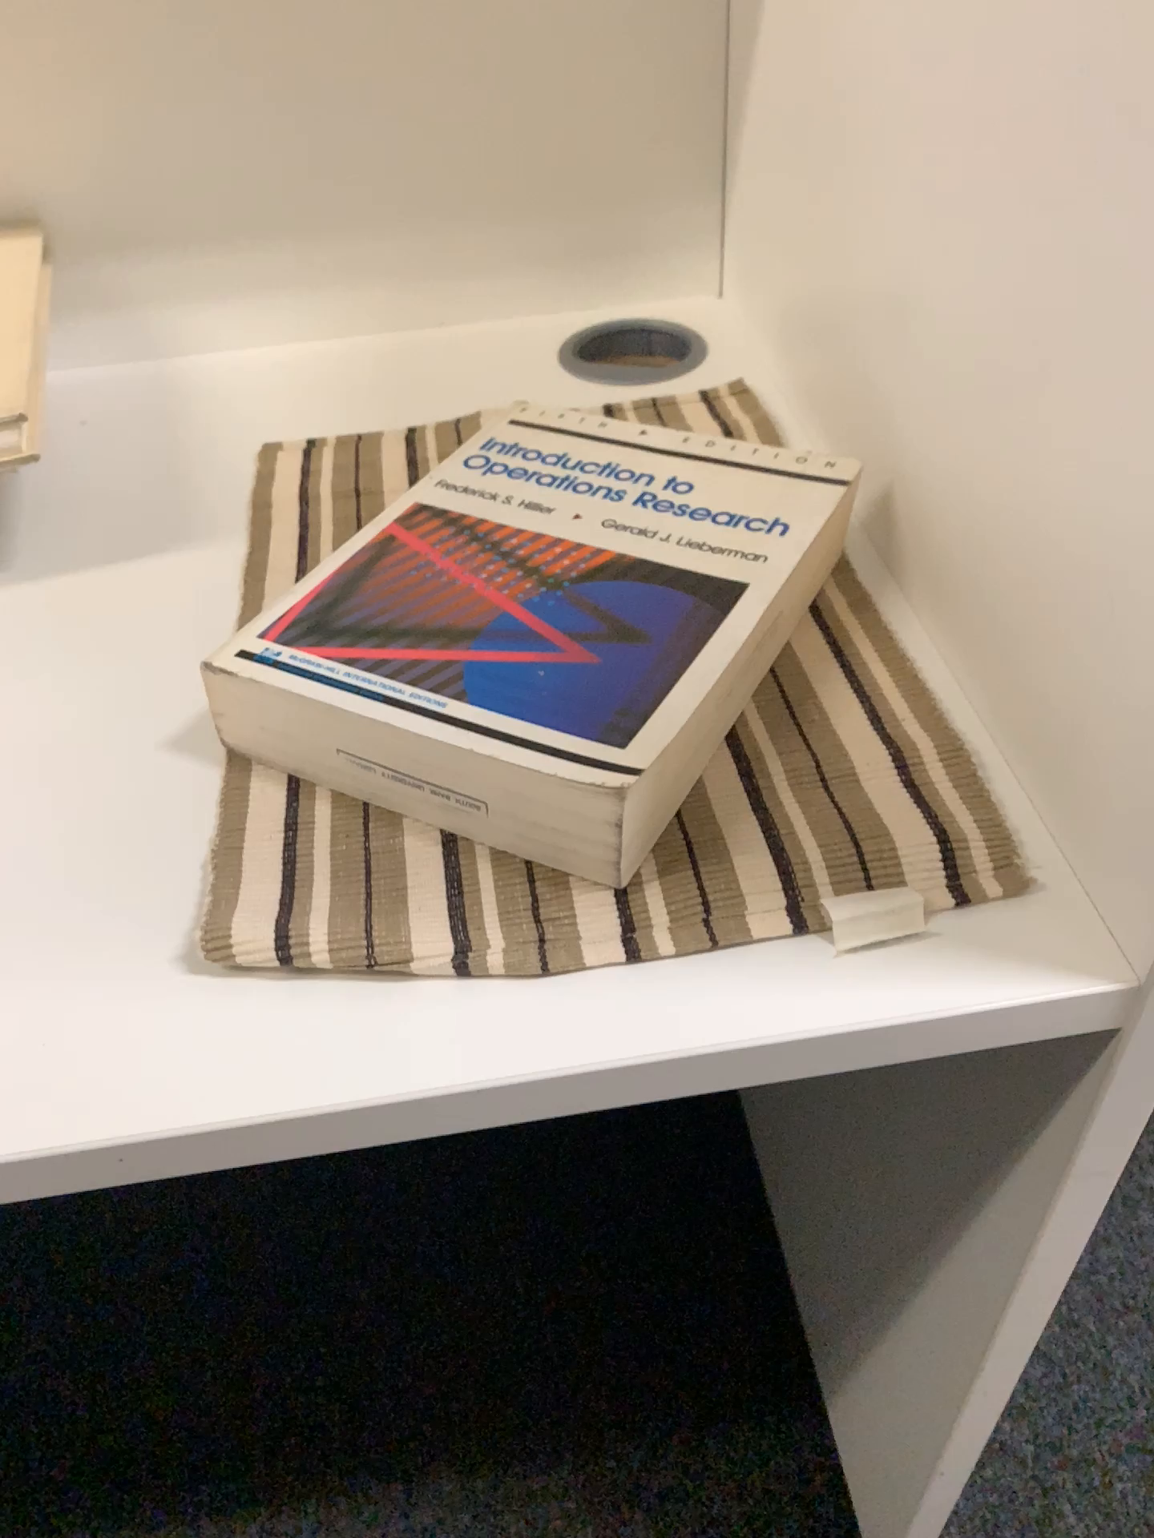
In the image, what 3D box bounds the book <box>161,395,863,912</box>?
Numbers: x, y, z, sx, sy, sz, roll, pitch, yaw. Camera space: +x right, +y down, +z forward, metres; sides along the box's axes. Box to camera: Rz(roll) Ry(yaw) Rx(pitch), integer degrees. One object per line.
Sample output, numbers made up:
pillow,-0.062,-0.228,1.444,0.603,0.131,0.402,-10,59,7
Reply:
book,-0.014,-0.070,0.504,0.196,0.052,0.235,18,46,23
